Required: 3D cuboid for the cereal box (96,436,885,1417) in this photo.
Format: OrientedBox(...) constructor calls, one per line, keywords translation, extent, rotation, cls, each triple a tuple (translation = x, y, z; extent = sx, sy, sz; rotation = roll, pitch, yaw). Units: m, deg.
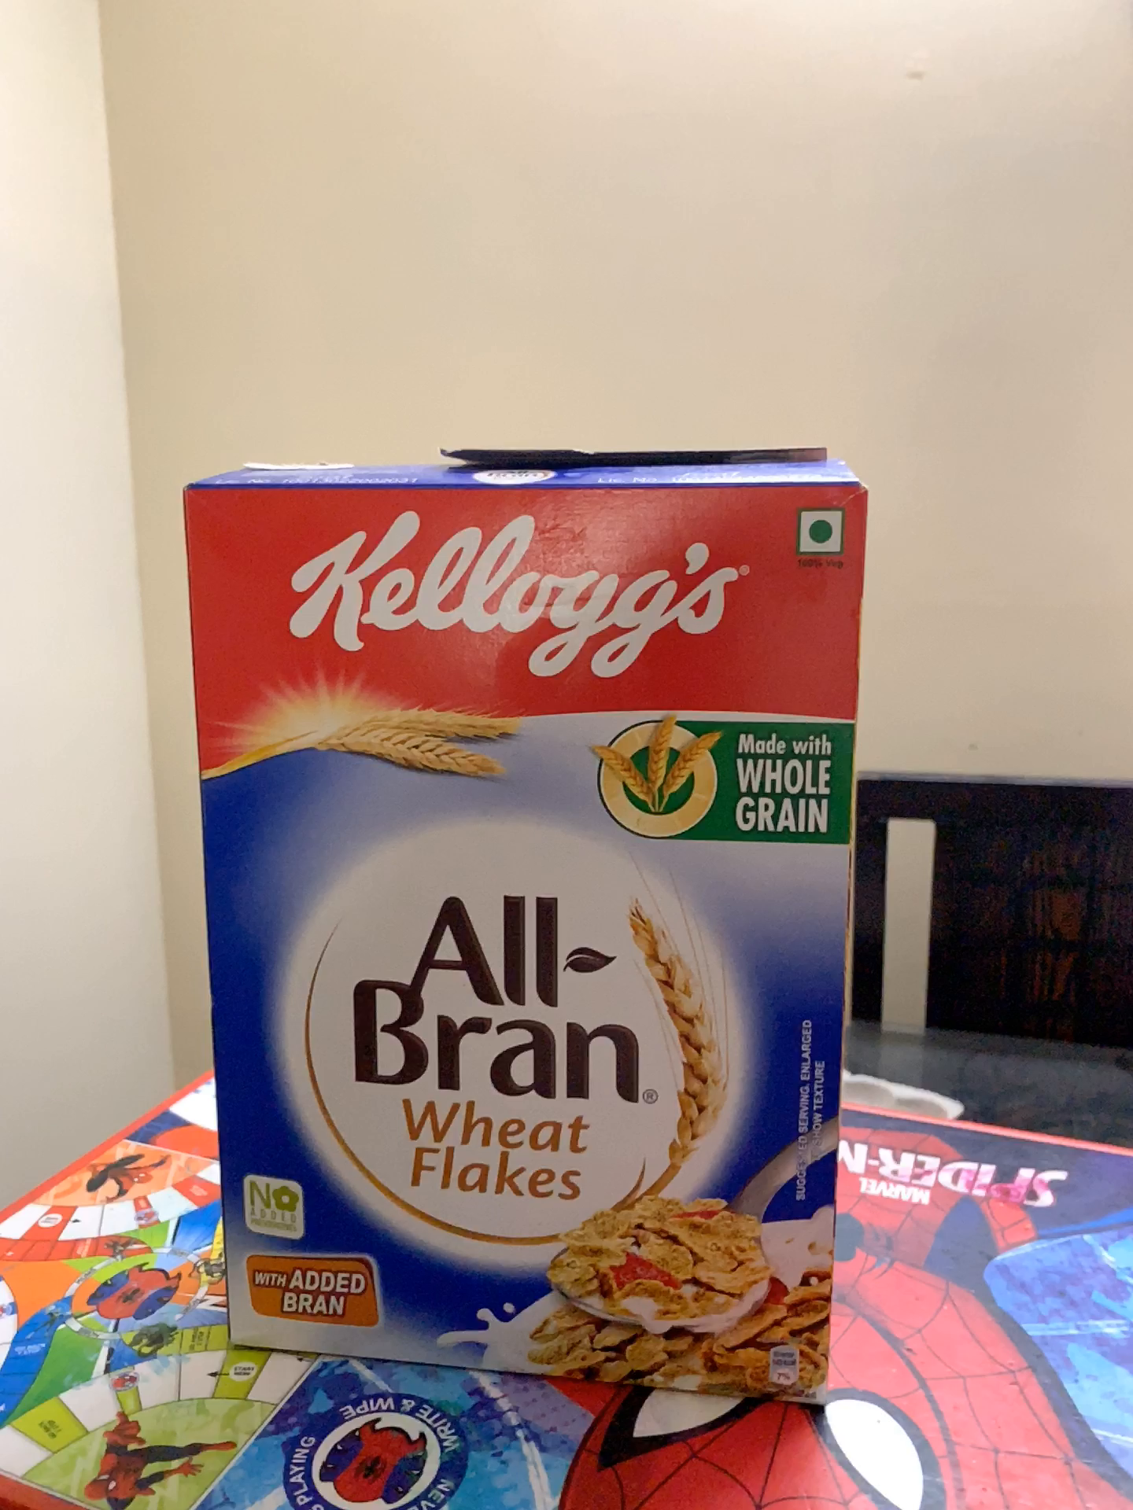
OrientedBox(translation=(-0.017, 0.043, 0.329), extent=(0.190, 0.249, 0.060), rotation=(1, 10, 8), cls="cereal box")
